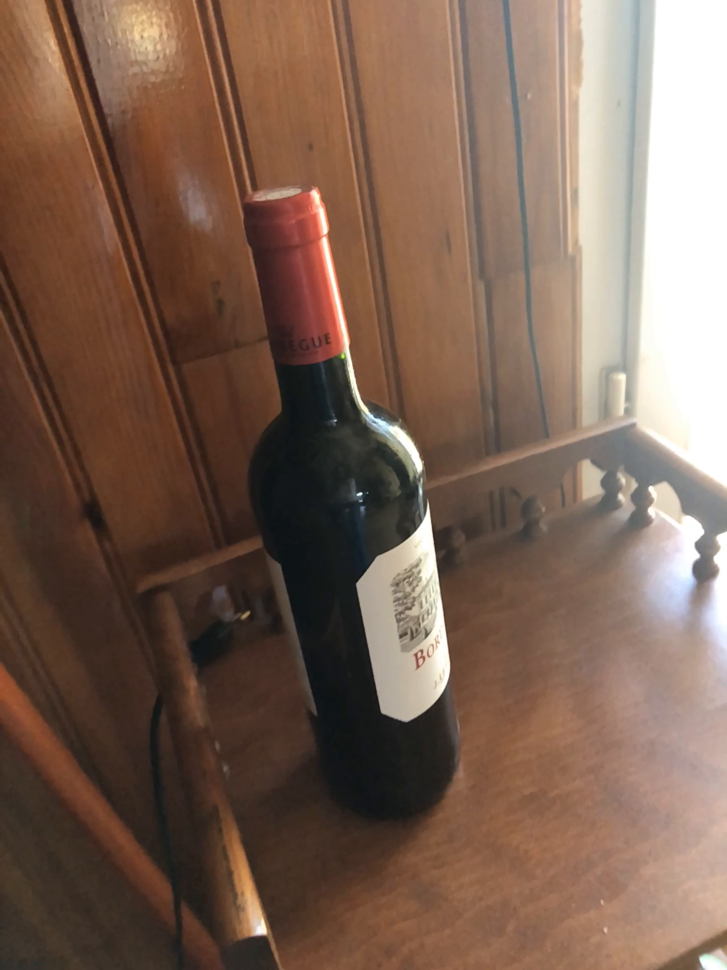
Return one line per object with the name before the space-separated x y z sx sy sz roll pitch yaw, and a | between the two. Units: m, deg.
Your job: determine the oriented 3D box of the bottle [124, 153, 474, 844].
bottle | -0.008 0.025 0.363 0.080 0.308 0.081 -7 32 4
